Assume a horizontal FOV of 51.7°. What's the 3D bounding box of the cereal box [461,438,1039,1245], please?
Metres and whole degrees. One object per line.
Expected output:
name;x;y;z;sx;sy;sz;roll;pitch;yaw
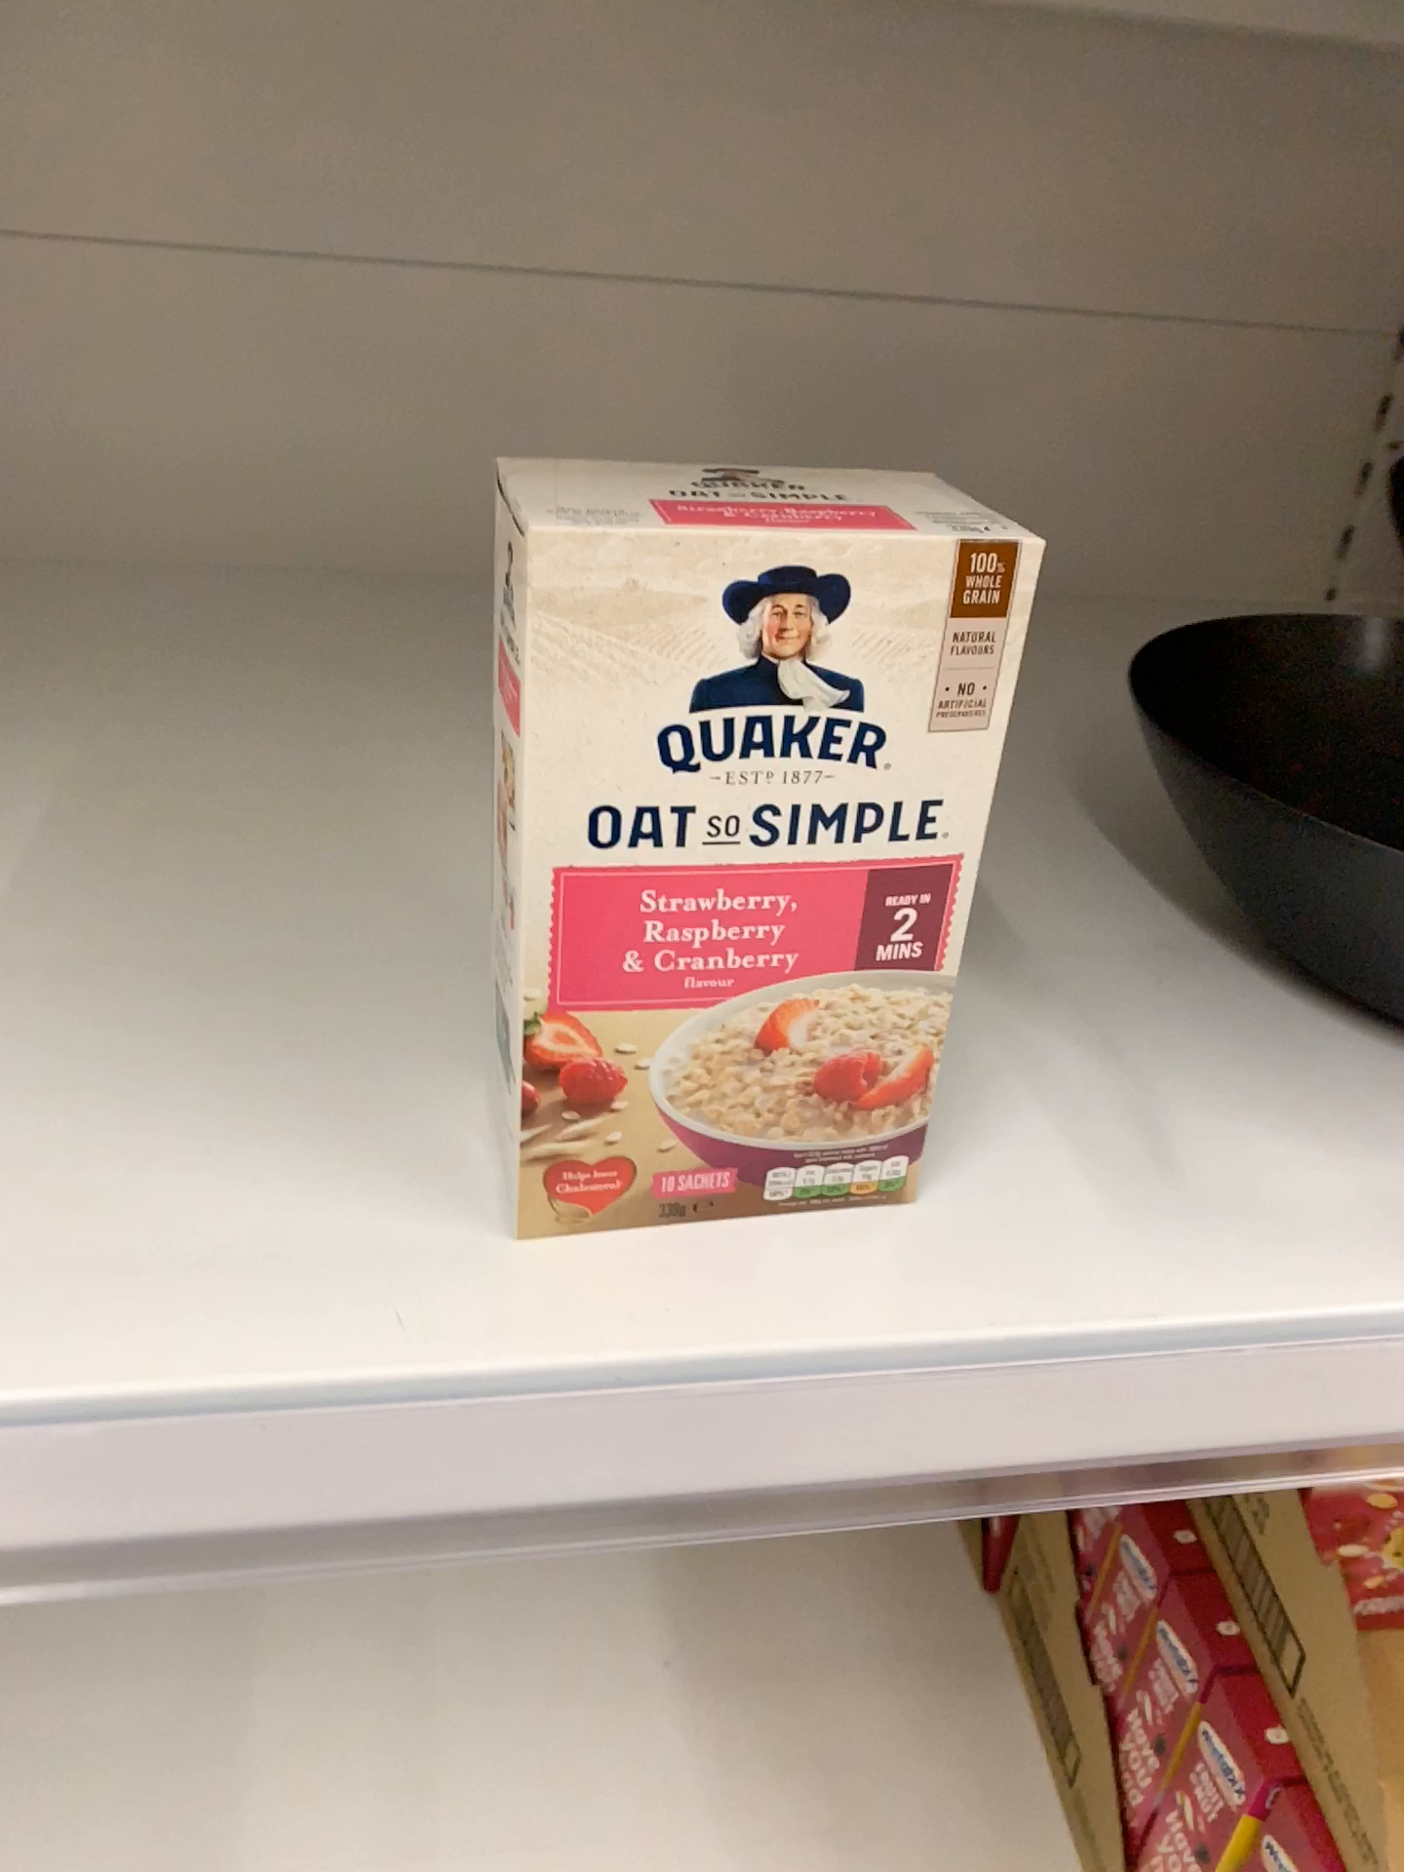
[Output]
cereal box;0.001;-0.025;0.419;0.130;0.208;0.081;-3;30;-15
